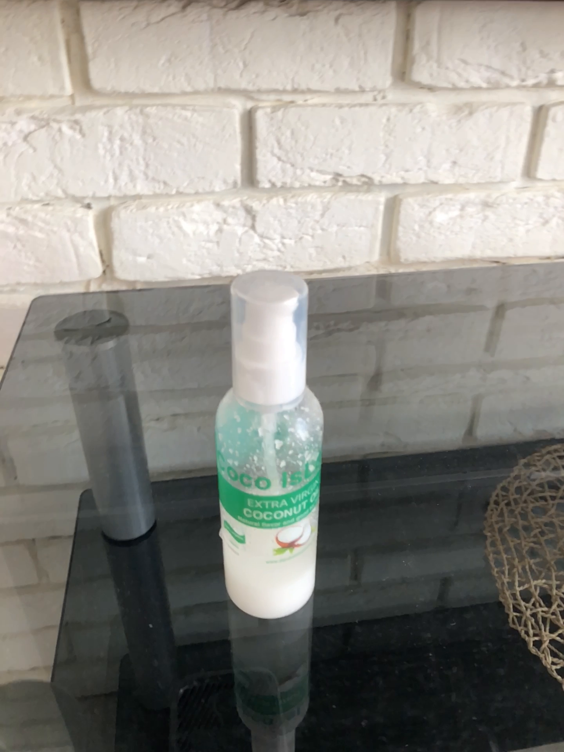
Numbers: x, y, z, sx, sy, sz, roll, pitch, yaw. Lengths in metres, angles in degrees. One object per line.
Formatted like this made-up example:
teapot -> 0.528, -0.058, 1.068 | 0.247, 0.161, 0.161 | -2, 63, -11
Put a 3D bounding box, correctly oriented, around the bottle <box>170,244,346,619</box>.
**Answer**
bottle -> -0.007, 0.026, 0.236 | 0.050, 0.139, 0.050 | 0, 33, 0
